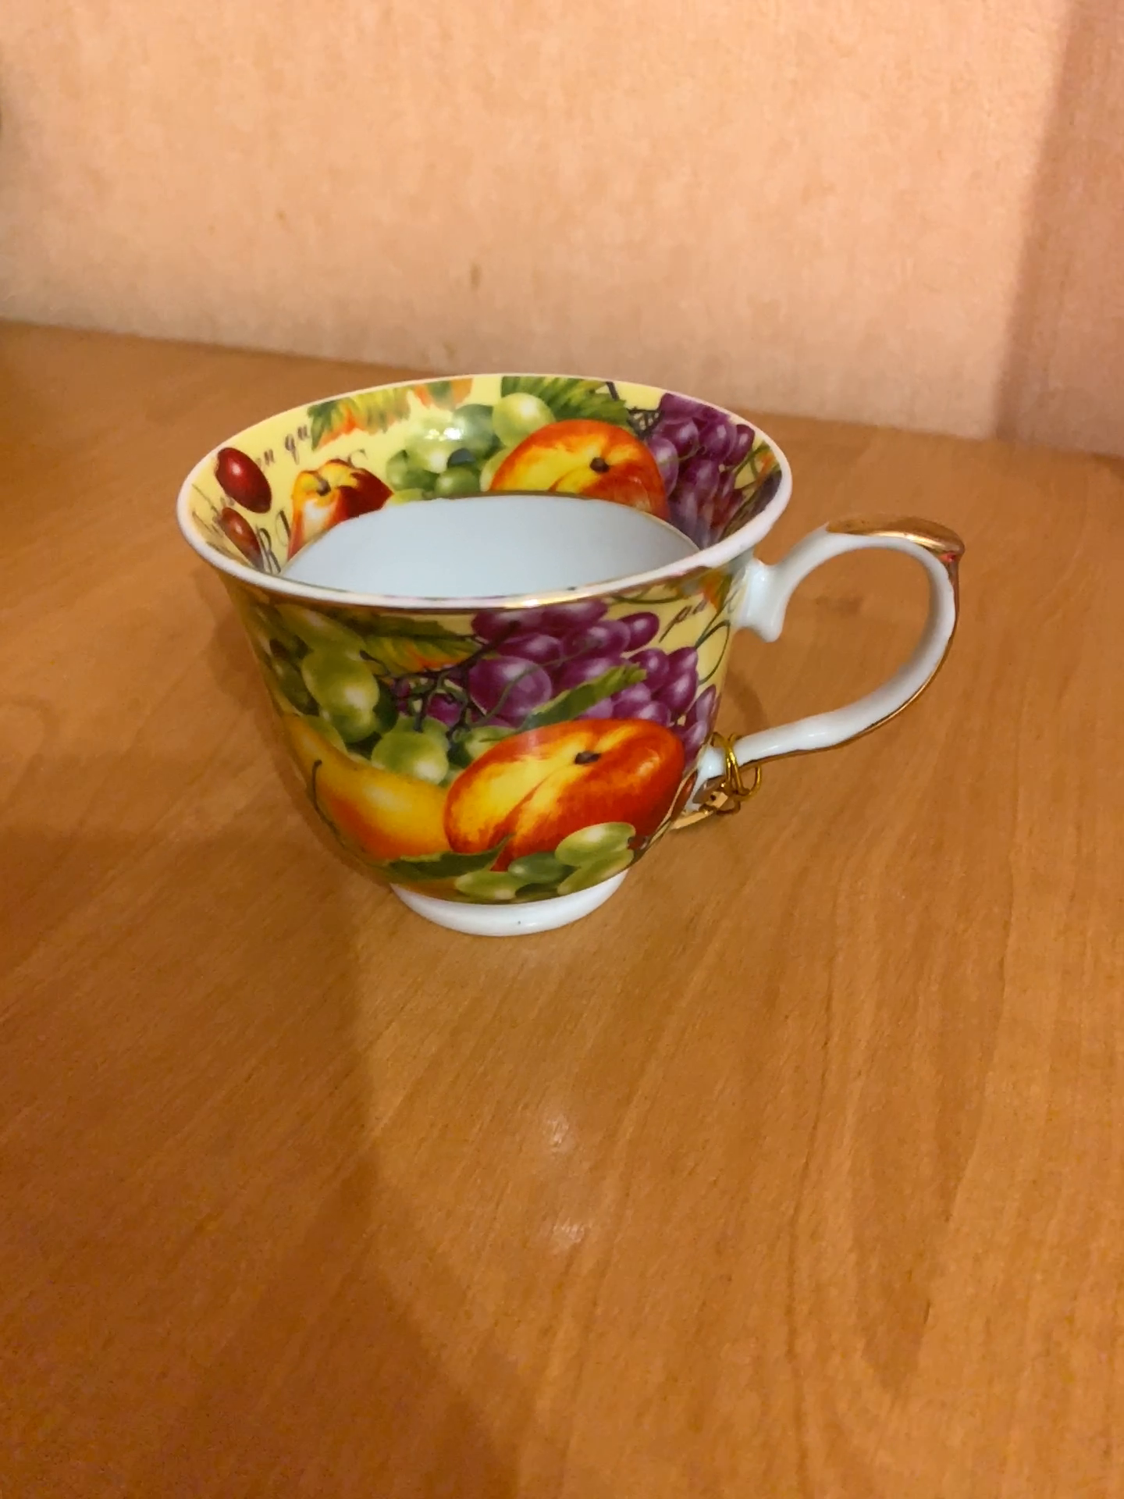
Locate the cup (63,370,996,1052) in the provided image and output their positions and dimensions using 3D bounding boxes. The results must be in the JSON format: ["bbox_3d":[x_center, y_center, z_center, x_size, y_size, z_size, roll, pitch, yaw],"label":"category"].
[{"bbox_3d":[-0.001,-0.012,0.188,0.106,0.071,0.086,2,34,5],"label":"cup"}]
